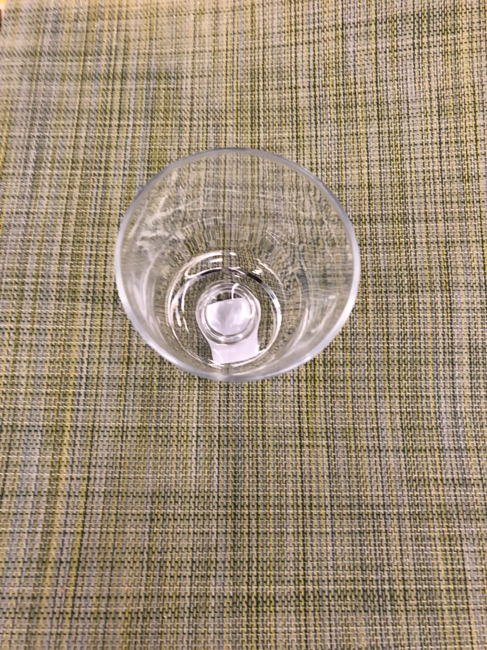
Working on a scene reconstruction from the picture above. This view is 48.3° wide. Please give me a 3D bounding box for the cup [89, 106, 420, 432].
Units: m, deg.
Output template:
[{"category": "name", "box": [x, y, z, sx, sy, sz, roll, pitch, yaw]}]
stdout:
[{"category": "cup", "box": [0.002, -0.011, 0.237, 0.090, 0.110, 0.090, 1, 79, -5]}]
